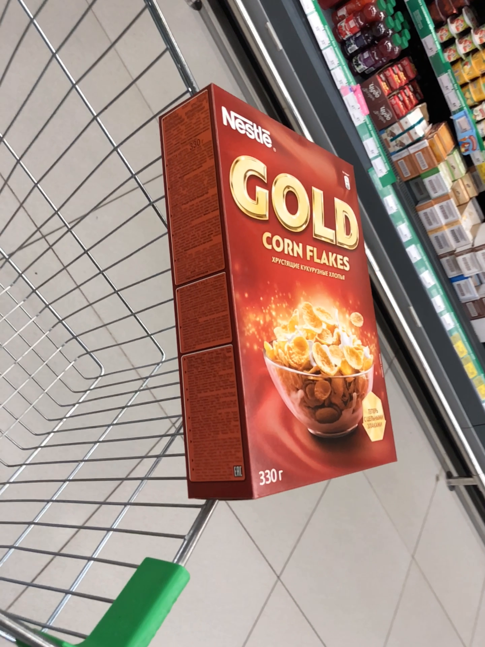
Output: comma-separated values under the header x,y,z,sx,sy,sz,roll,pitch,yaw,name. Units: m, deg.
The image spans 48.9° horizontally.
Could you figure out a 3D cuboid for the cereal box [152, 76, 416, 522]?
x,y,z,sx,sy,sz,roll,pitch,yaw,name
0.040,-0.012,0.420,0.211,0.060,0.280,7,73,-47,cereal box
